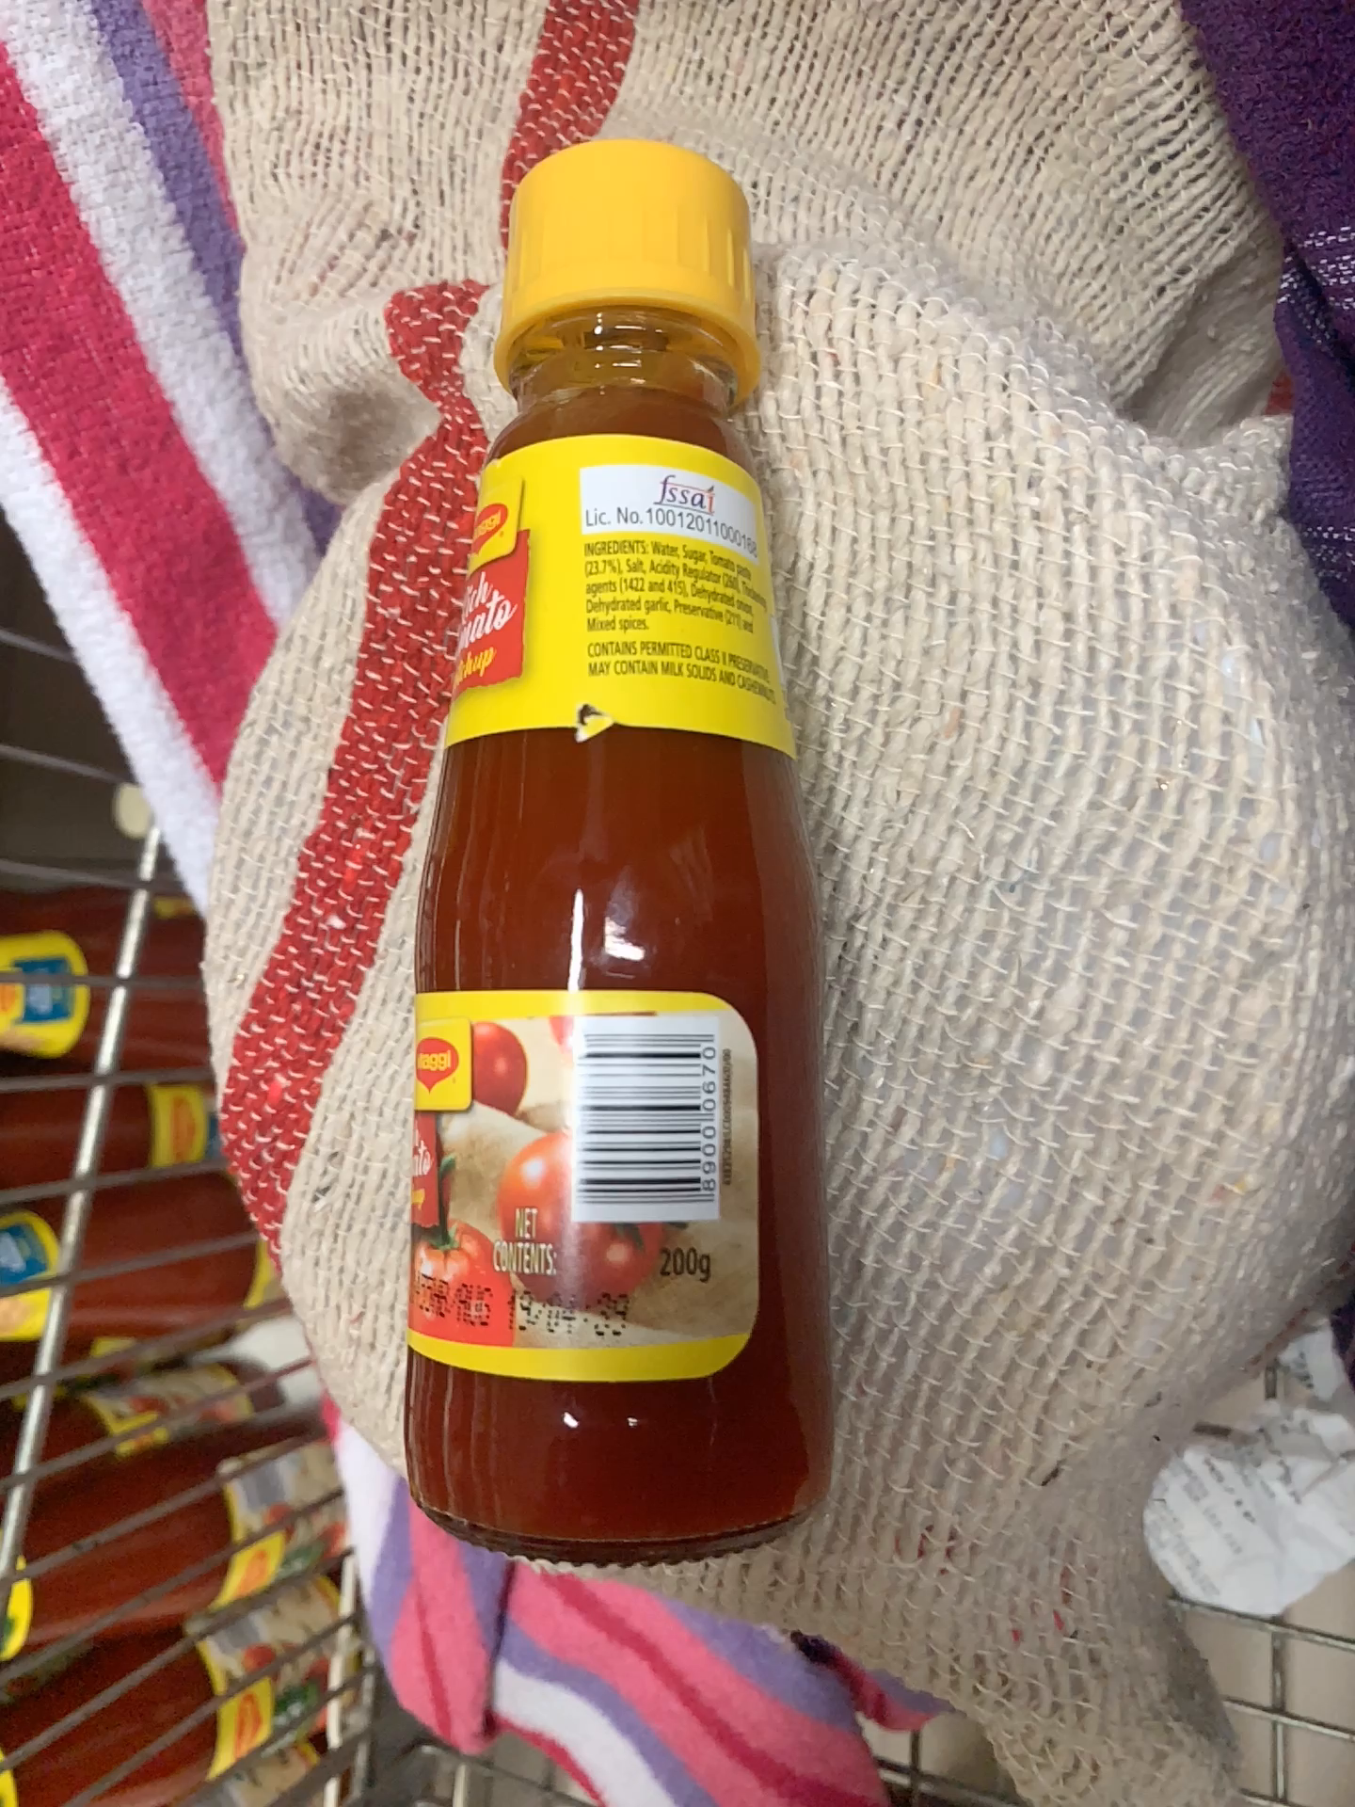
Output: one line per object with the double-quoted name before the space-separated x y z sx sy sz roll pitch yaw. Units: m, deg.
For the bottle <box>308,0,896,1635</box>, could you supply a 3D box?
"bottle" -0.012 -0.016 0.169 0.050 0.050 0.170 -11 78 61
